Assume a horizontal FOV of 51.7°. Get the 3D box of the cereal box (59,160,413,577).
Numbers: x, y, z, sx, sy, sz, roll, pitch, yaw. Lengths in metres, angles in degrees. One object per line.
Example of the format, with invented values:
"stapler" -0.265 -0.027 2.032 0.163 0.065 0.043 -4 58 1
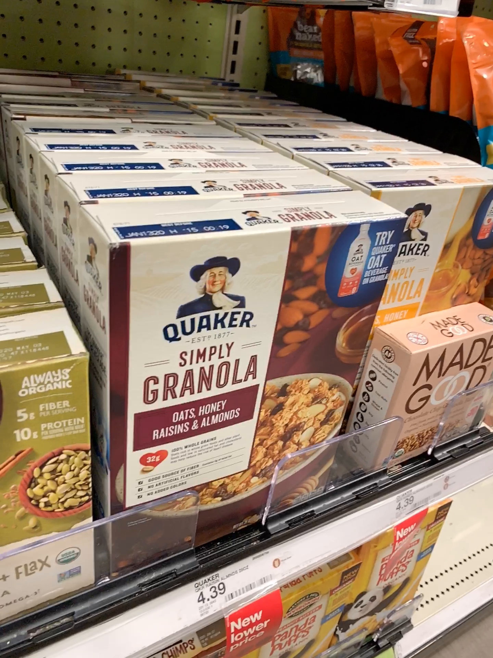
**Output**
"cereal box" -0.015 0.026 0.331 0.180 0.249 0.060 -12 38 -30
